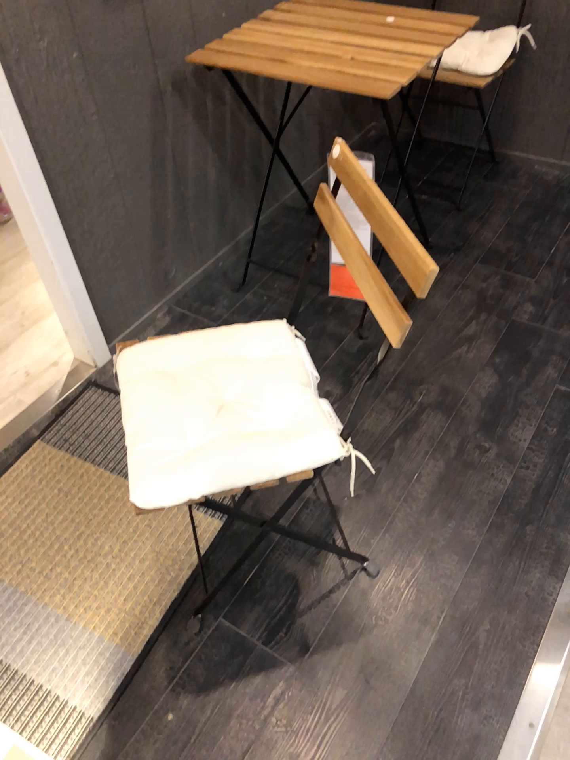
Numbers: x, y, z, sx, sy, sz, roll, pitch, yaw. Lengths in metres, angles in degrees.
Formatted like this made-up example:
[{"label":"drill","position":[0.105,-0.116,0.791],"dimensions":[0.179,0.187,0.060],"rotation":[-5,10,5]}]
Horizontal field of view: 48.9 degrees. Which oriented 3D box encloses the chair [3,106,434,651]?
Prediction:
[{"label":"chair","position":[-0.089,0.034,1.082],"dimensions":[0.460,0.757,0.452],"rotation":[-13,46,-7]}]
